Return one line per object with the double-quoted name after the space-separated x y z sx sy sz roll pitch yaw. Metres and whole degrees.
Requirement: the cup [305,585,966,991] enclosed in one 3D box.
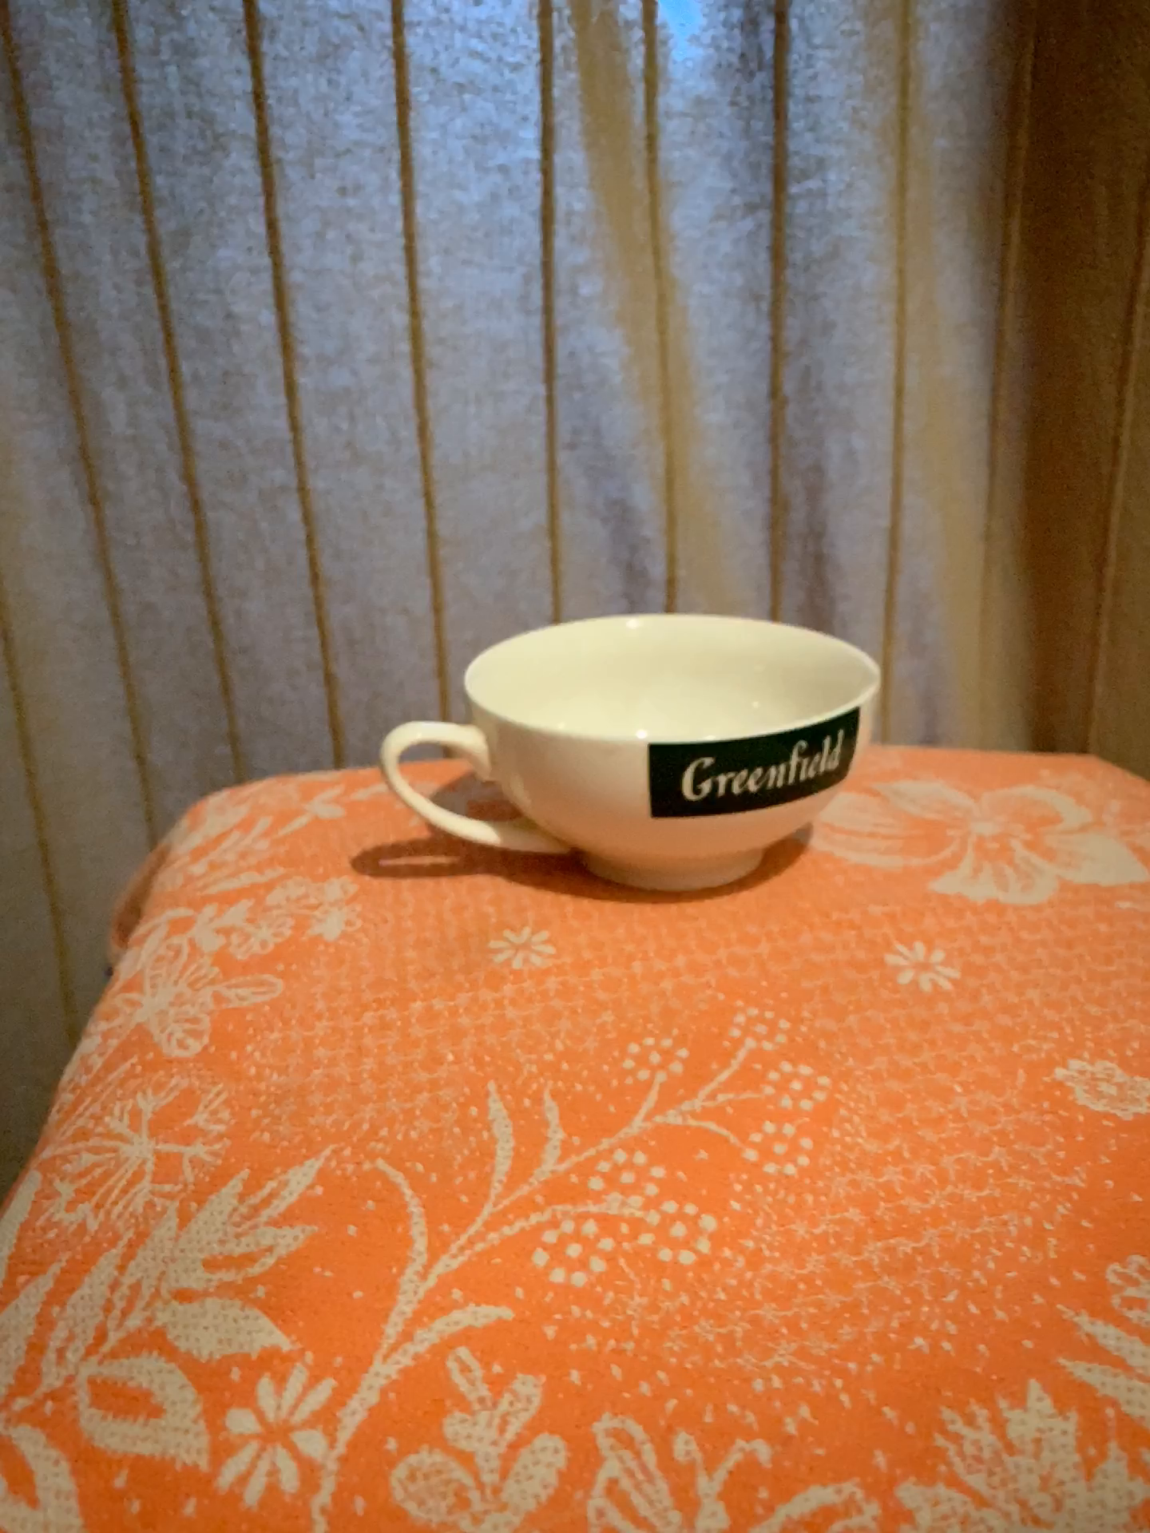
0.008 -0.005 0.320 0.136 0.056 0.115 -6 22 -20 "cup"
